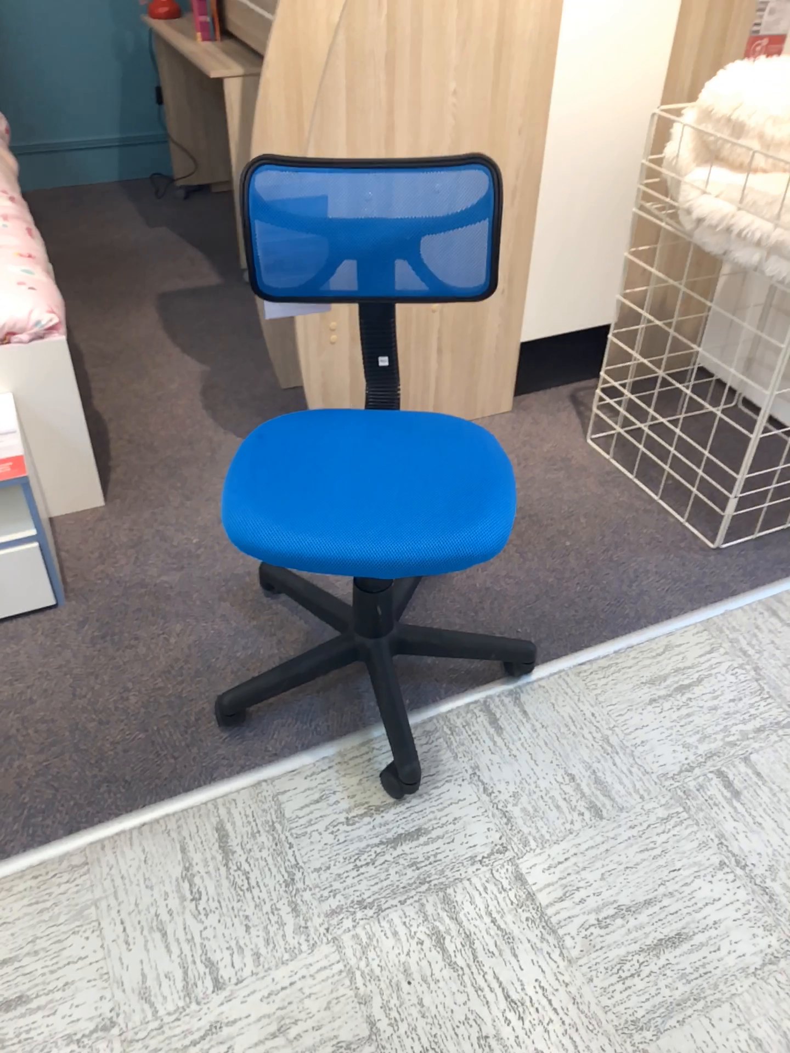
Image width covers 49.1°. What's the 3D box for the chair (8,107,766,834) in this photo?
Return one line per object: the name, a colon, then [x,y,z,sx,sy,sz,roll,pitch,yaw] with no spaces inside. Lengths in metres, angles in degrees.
chair: [-0.035,-0.089,1.235,0.660,0.795,0.614,-3,39,-6]
